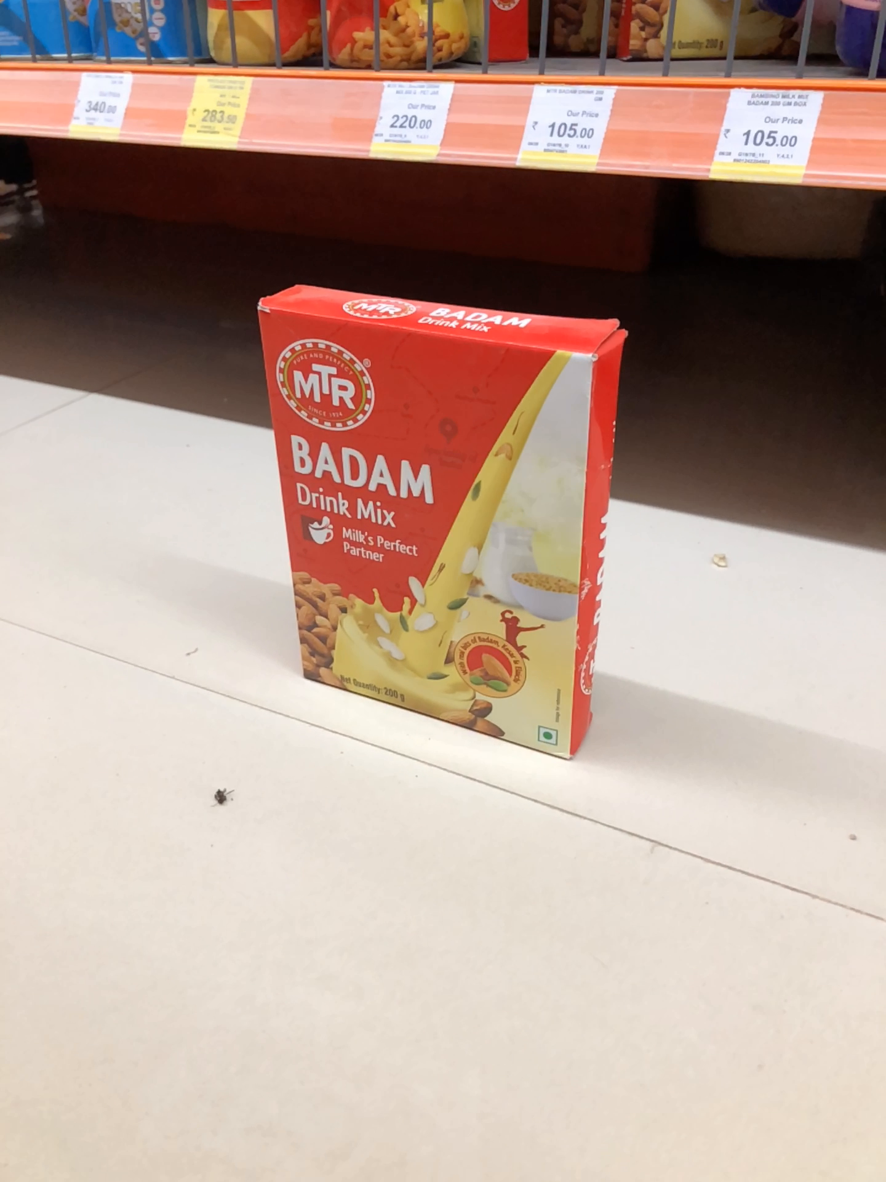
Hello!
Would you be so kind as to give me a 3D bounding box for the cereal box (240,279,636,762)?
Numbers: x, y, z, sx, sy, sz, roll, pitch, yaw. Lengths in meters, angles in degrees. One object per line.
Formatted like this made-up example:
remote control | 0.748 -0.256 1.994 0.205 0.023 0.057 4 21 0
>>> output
cereal box | -0.002 -0.027 0.373 0.130 0.159 0.040 14 34 23
